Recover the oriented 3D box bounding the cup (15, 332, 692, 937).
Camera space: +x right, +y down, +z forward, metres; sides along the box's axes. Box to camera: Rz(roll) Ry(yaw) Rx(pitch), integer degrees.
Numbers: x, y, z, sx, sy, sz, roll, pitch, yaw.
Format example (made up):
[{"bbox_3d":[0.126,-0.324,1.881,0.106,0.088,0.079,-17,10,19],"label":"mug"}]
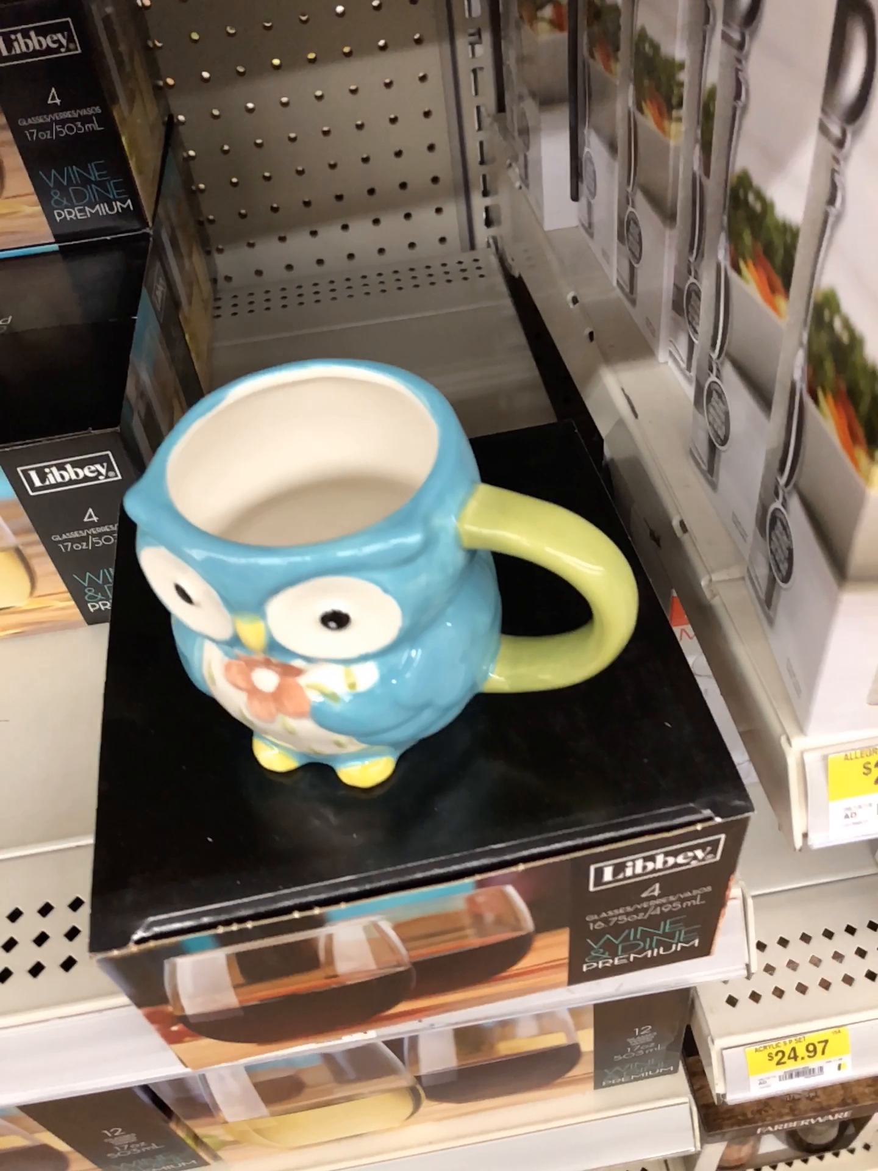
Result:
[{"bbox_3d":[-0.014,0.010,0.275,0.140,0.110,0.090,14,50,22],"label":"cup"}]
